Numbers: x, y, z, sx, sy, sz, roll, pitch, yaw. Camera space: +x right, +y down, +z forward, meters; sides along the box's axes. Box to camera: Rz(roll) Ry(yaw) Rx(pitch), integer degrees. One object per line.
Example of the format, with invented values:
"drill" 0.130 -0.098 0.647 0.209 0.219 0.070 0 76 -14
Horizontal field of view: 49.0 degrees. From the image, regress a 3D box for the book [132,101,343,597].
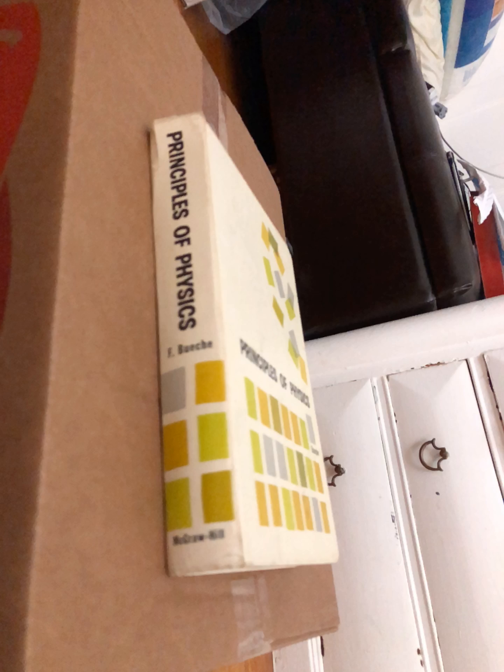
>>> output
"book" -0.005 0.017 0.343 0.180 0.040 0.250 43 37 -59
